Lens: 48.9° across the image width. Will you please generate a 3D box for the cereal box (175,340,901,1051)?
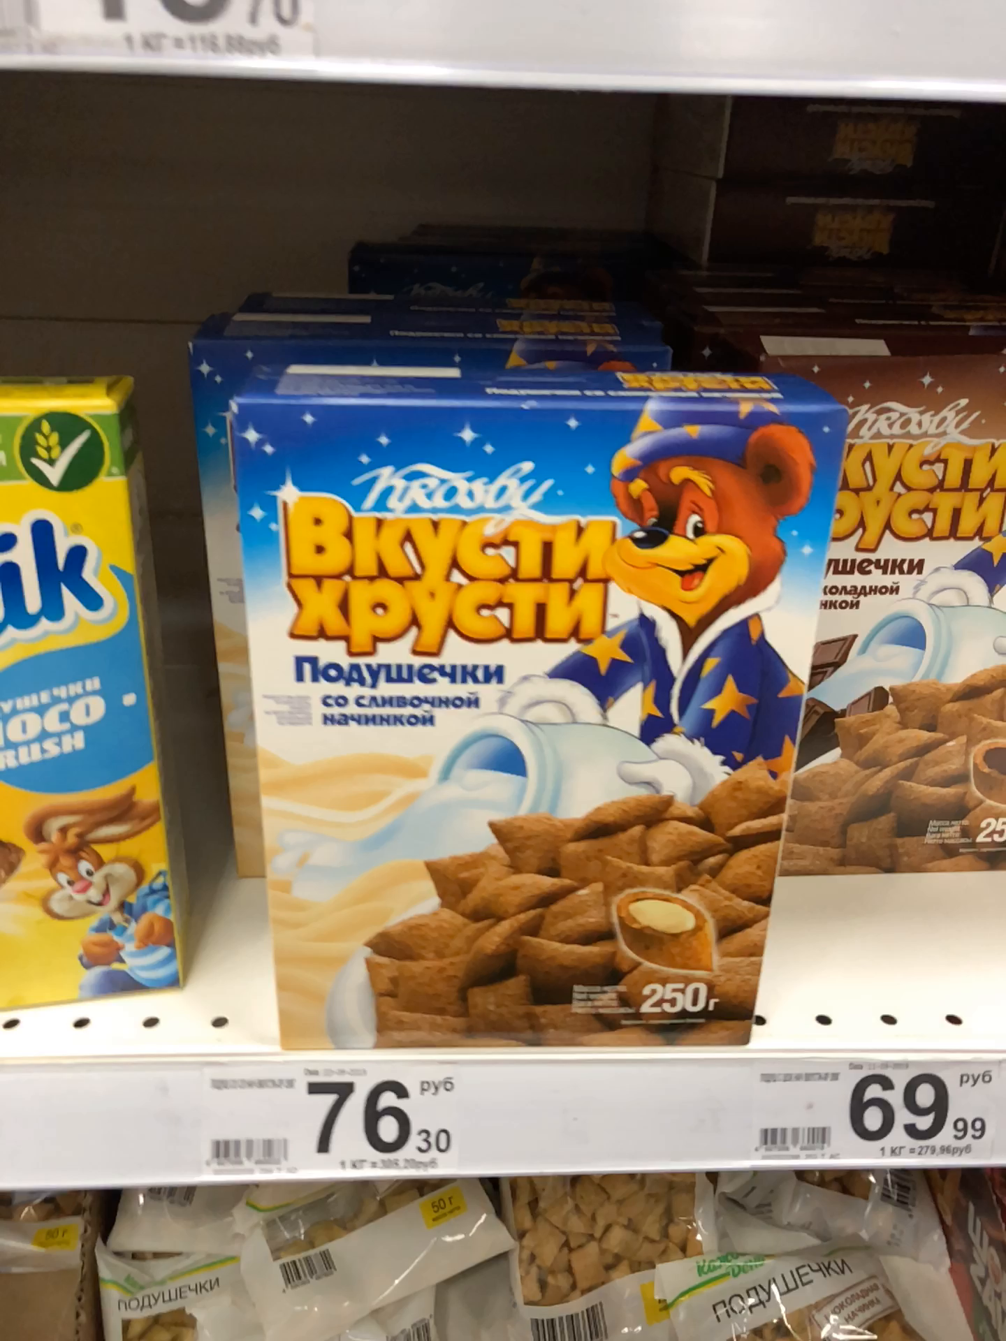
[{"bbox_3d":[0.006,0.017,0.360,0.190,0.229,0.050,0,25,-3],"label":"cereal box"}]
